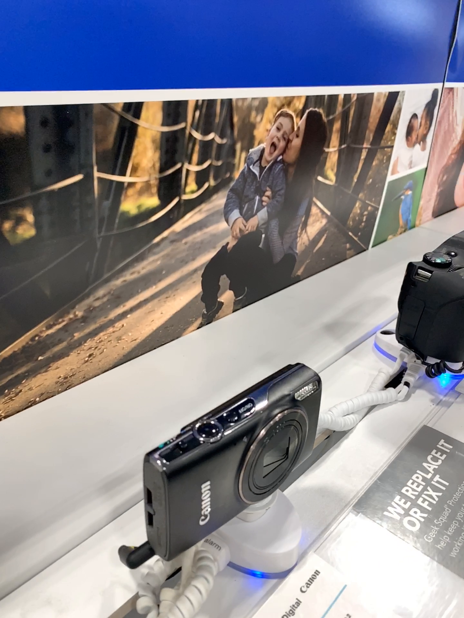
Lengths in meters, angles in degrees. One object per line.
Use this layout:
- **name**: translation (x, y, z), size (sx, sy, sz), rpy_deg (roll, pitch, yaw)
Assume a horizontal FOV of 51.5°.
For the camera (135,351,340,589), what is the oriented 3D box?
- **camera**: translation (0.007, 0.068, 0.226), size (0.027, 0.055, 0.106), rpy_deg (23, 32, 38)
